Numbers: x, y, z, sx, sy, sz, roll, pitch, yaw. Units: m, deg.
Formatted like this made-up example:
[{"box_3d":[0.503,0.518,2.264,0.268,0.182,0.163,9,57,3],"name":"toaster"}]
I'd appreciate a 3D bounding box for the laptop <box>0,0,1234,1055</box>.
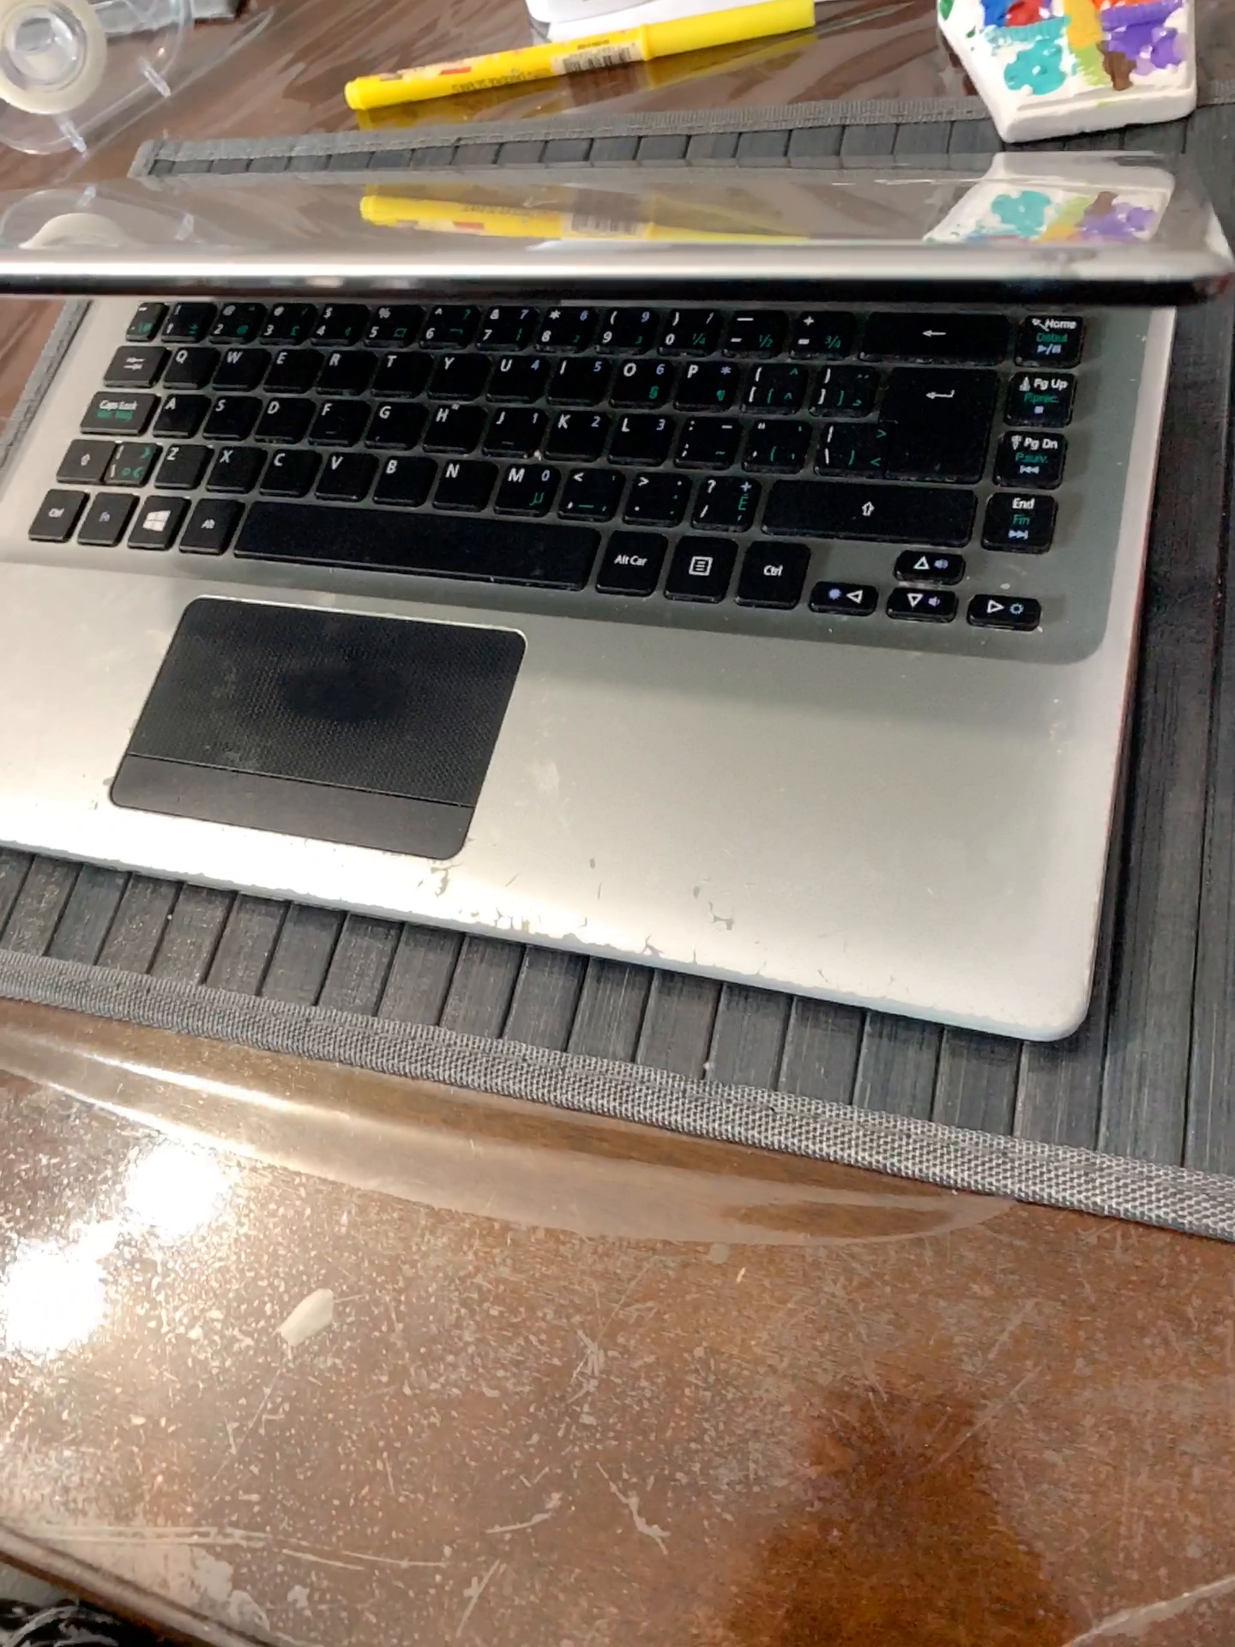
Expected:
[{"box_3d":[-0.055,-0.114,0.294,0.345,0.145,0.236,9,68,19],"name":"laptop"}]
